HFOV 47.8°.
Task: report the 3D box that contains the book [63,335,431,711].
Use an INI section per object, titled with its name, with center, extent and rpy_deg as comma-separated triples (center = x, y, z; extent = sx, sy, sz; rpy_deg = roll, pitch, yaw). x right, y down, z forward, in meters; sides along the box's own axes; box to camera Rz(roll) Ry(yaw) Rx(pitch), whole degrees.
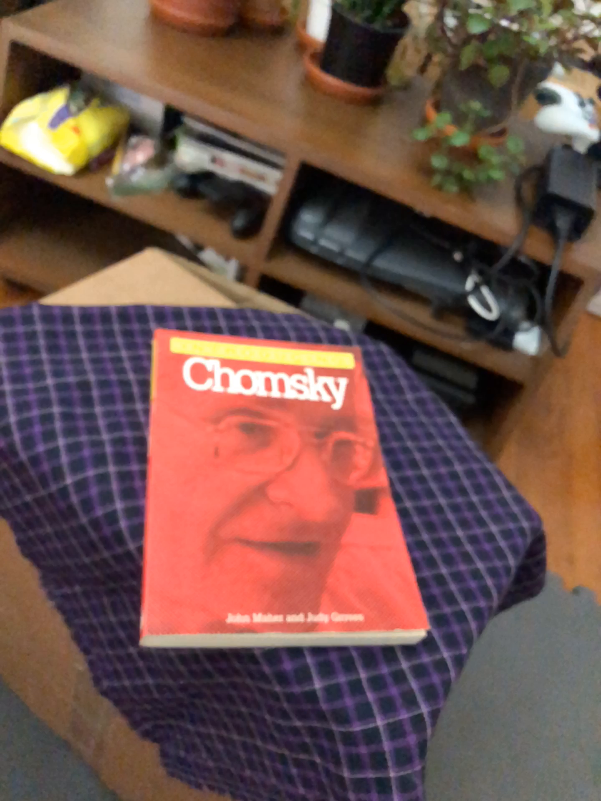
[book]
center = -0.037, 0.057, 0.413
extent = 0.180, 0.020, 0.241
rpy_deg = 5, 45, -16
